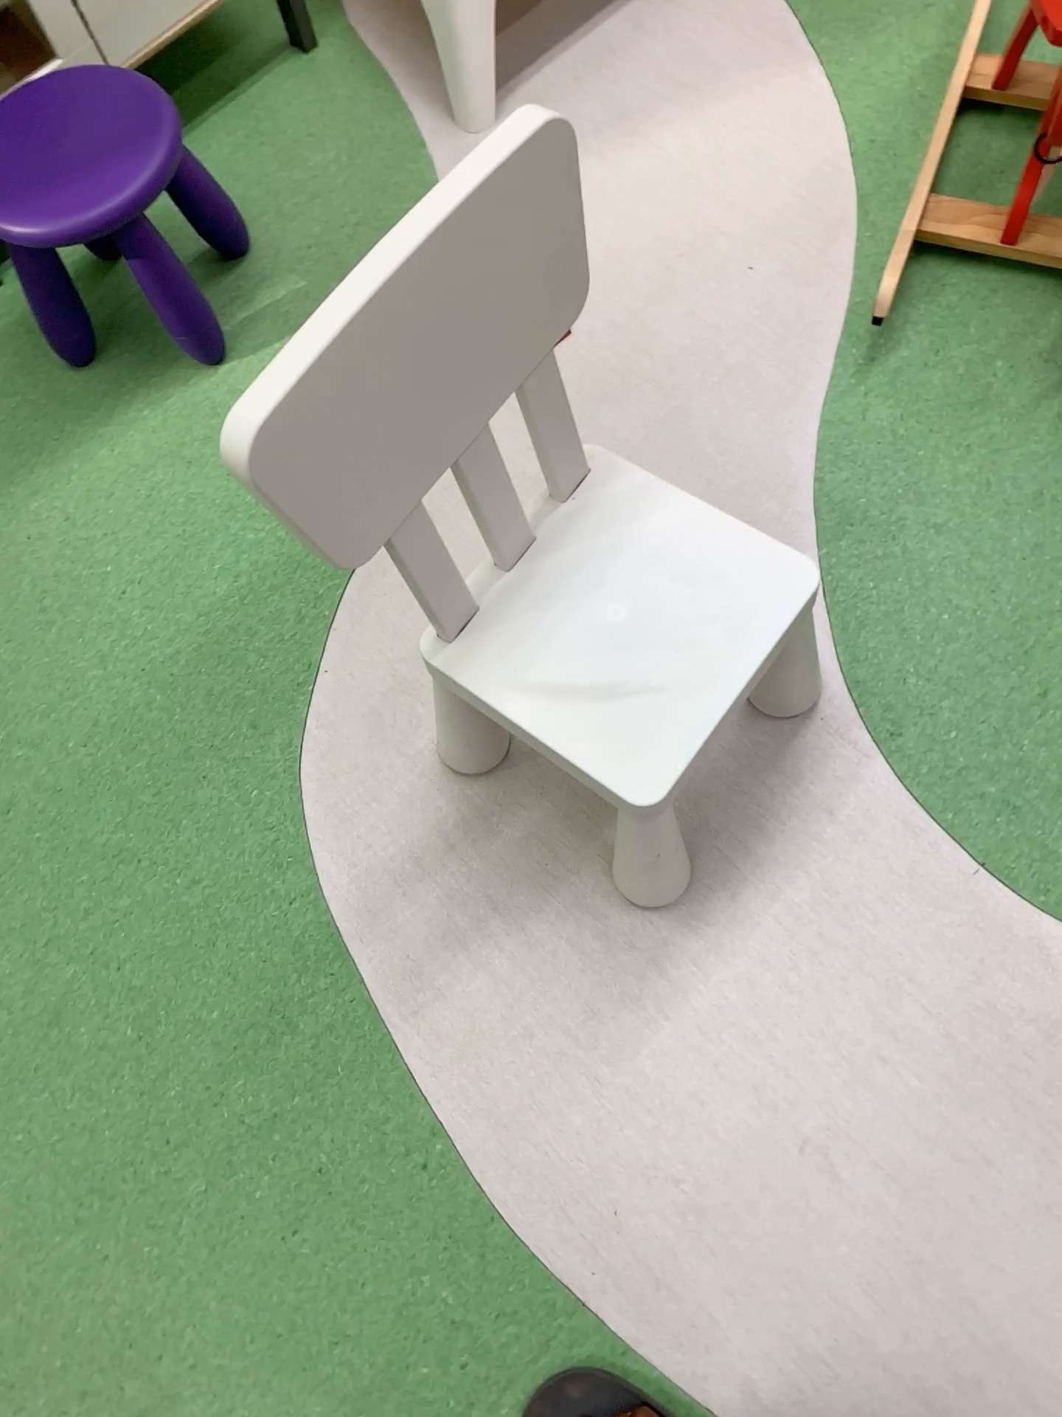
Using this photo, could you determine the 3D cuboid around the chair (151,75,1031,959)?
[{"bbox_3d":[0.066,-0.115,1.014,0.441,0.599,0.420,34,76,18],"label":"chair"}]
